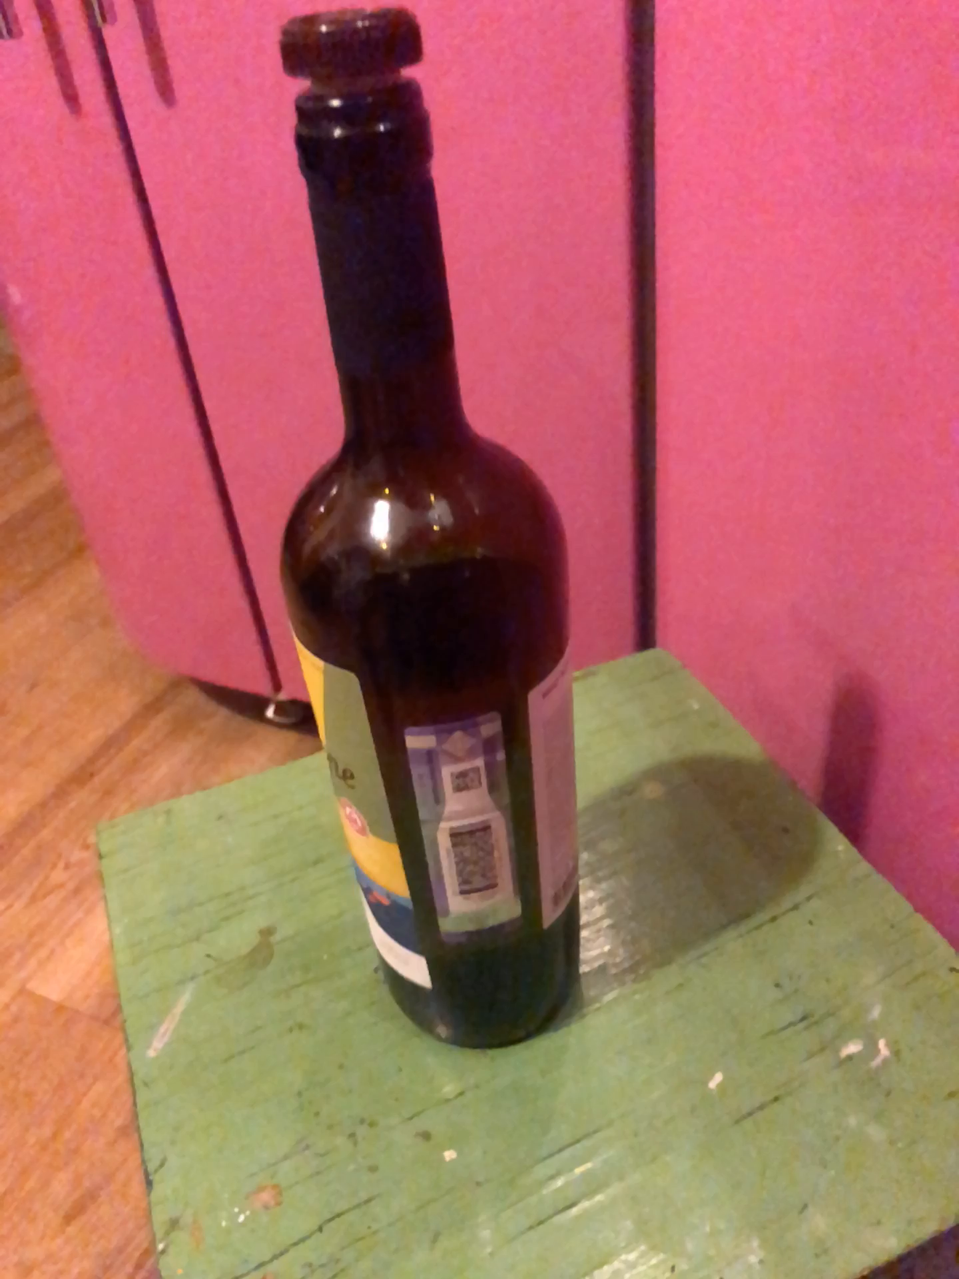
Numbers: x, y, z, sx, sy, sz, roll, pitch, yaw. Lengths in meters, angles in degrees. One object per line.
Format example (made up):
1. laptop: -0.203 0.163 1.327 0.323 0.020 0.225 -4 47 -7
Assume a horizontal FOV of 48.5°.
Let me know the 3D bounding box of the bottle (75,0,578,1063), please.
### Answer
1. bottle: -0.017 -0.002 0.298 0.071 0.300 0.072 -4 37 3
